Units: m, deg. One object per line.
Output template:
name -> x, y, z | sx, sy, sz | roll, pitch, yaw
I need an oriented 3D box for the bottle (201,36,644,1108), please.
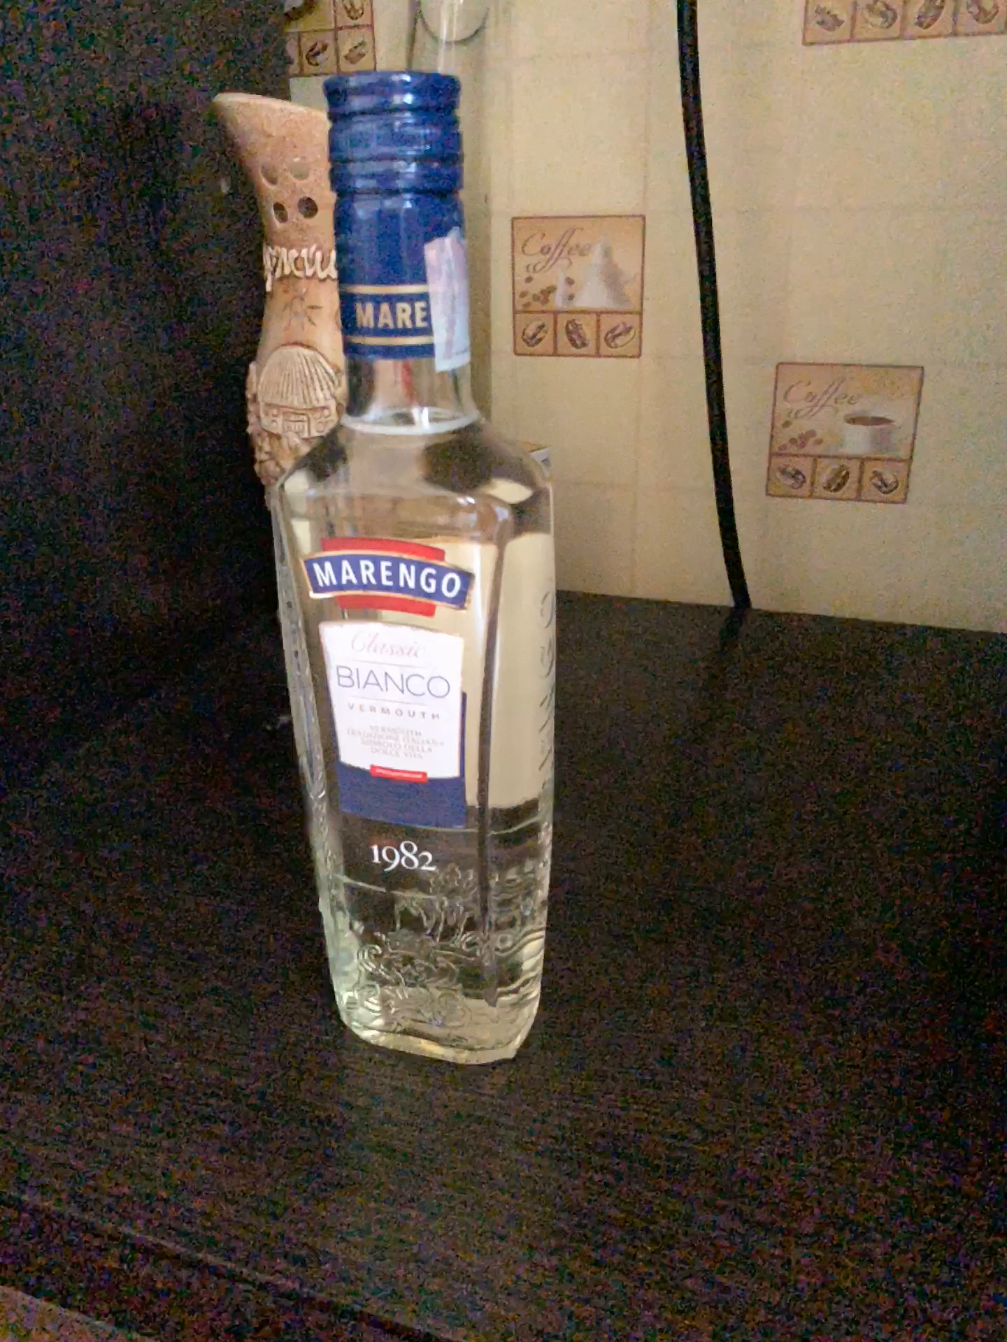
bottle -> -0.015, -0.010, 0.300 | 0.090, 0.289, 0.050 | 7, 26, 17
